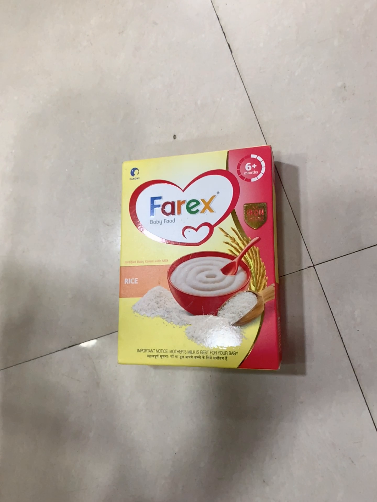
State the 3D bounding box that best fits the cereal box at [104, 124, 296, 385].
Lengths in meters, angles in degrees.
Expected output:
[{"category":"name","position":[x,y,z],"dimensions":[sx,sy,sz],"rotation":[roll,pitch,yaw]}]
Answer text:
[{"category":"cereal box","position":[0.012,0.006,0.359],"dimensions":[0.160,0.060,0.210],"rotation":[-2,81,16]}]
